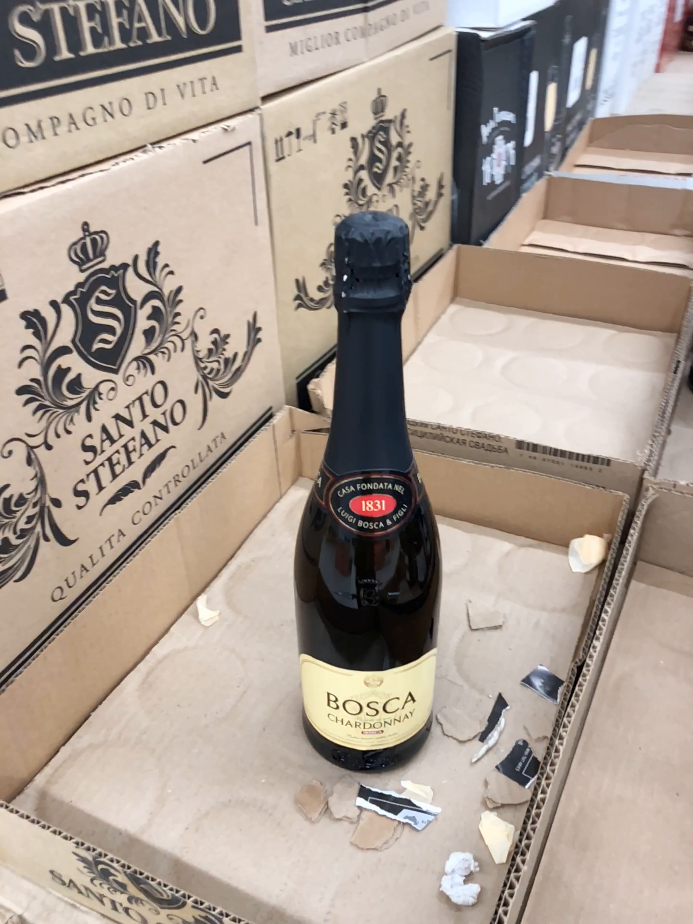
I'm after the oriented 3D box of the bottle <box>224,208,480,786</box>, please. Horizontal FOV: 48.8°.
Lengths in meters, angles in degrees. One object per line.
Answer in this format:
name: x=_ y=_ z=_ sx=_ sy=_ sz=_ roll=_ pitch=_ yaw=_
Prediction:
bottle: x=0.008 y=0.040 z=0.389 sx=0.090 sy=0.308 sz=0.080 roll=-1 pitch=35 yaw=2
